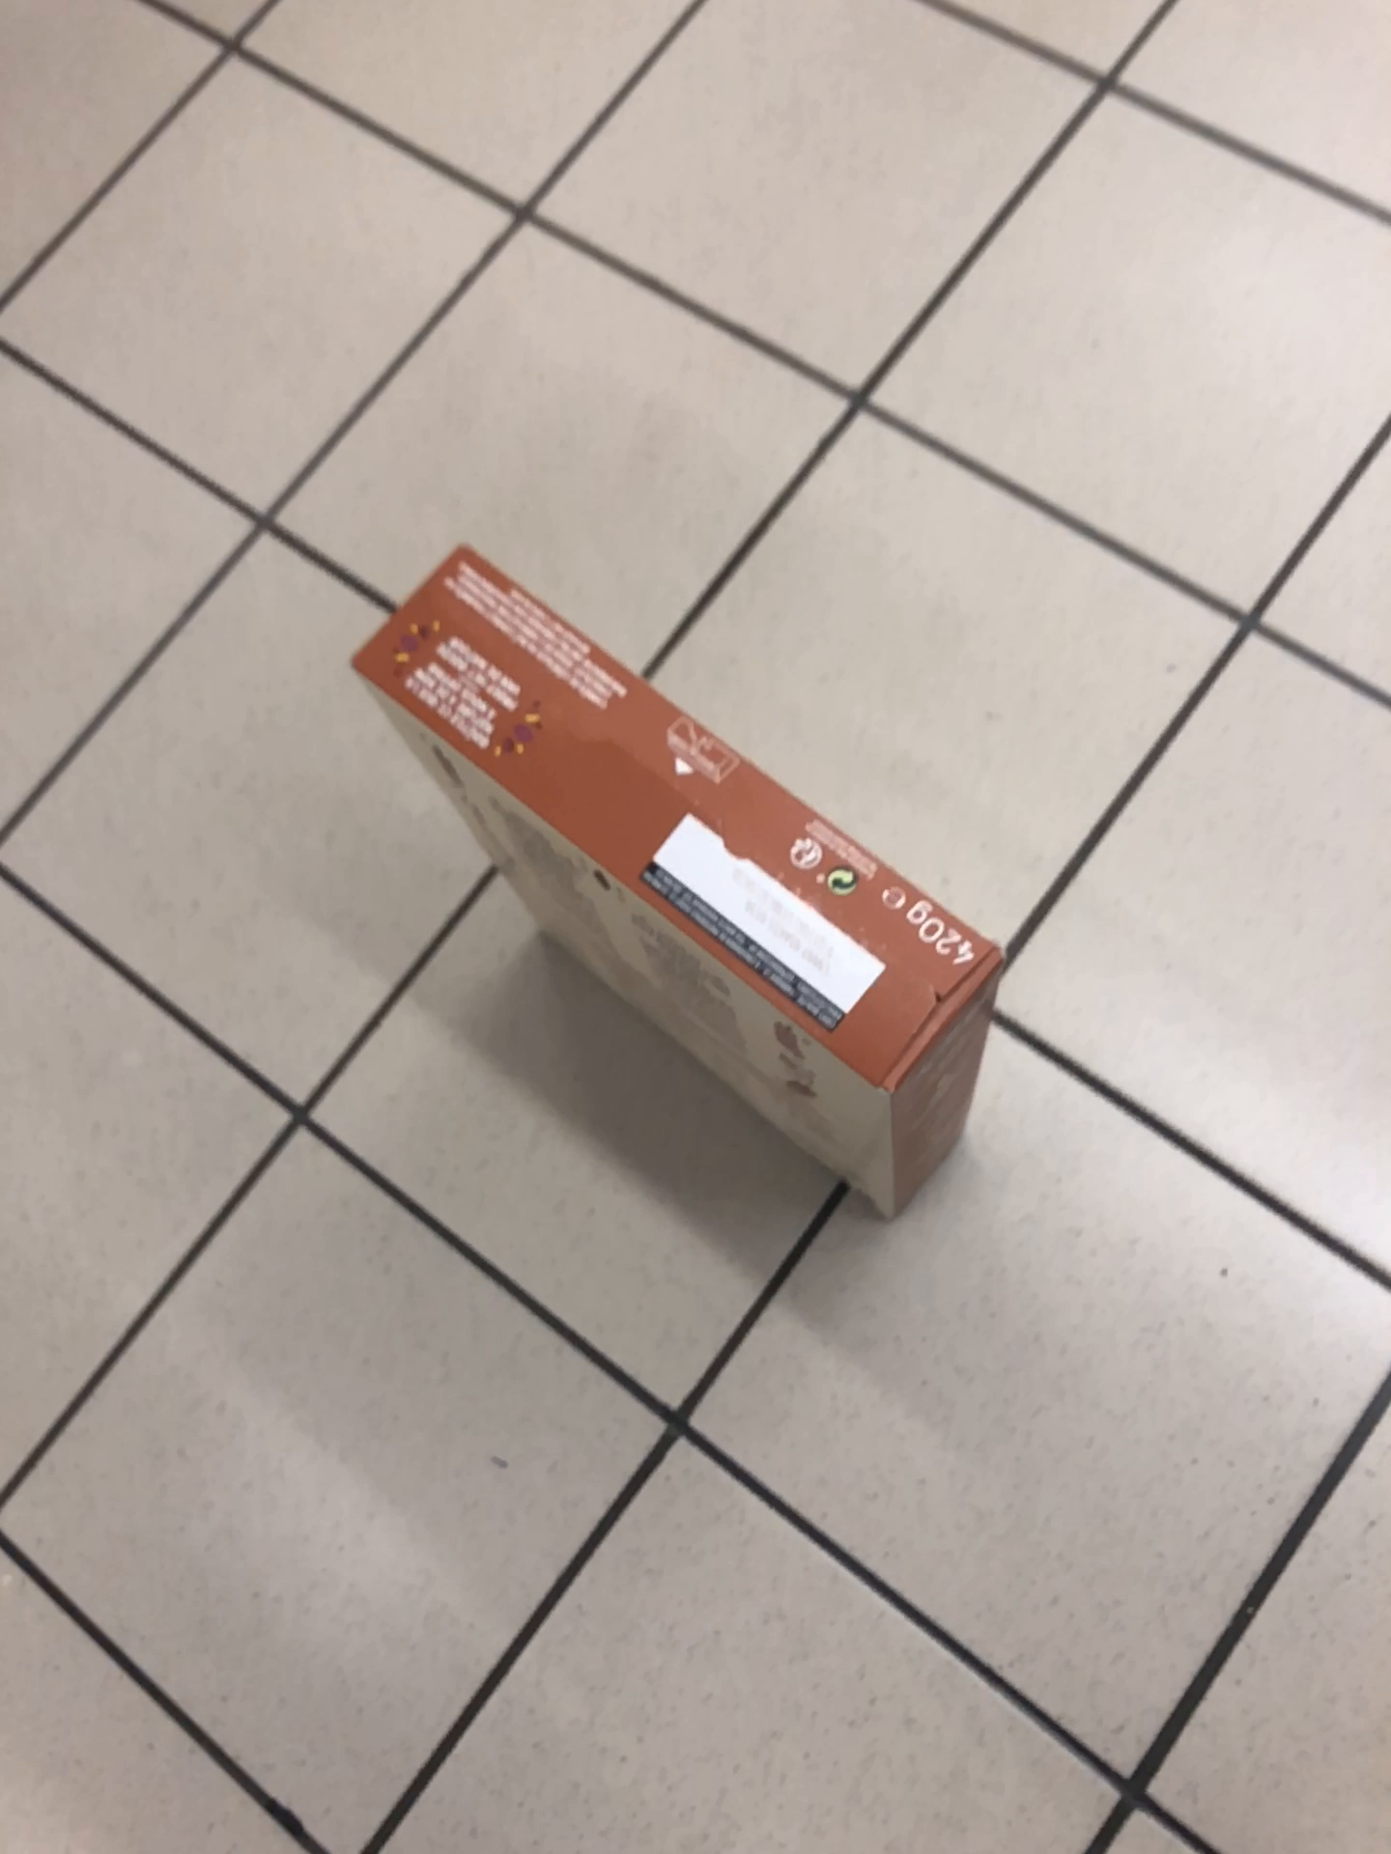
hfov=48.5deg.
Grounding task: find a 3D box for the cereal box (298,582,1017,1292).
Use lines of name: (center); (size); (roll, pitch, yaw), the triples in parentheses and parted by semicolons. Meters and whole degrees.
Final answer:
cereal box: (-0.001, 0.023, 0.507); (0.200, 0.250, 0.050); (39, 80, 17)
